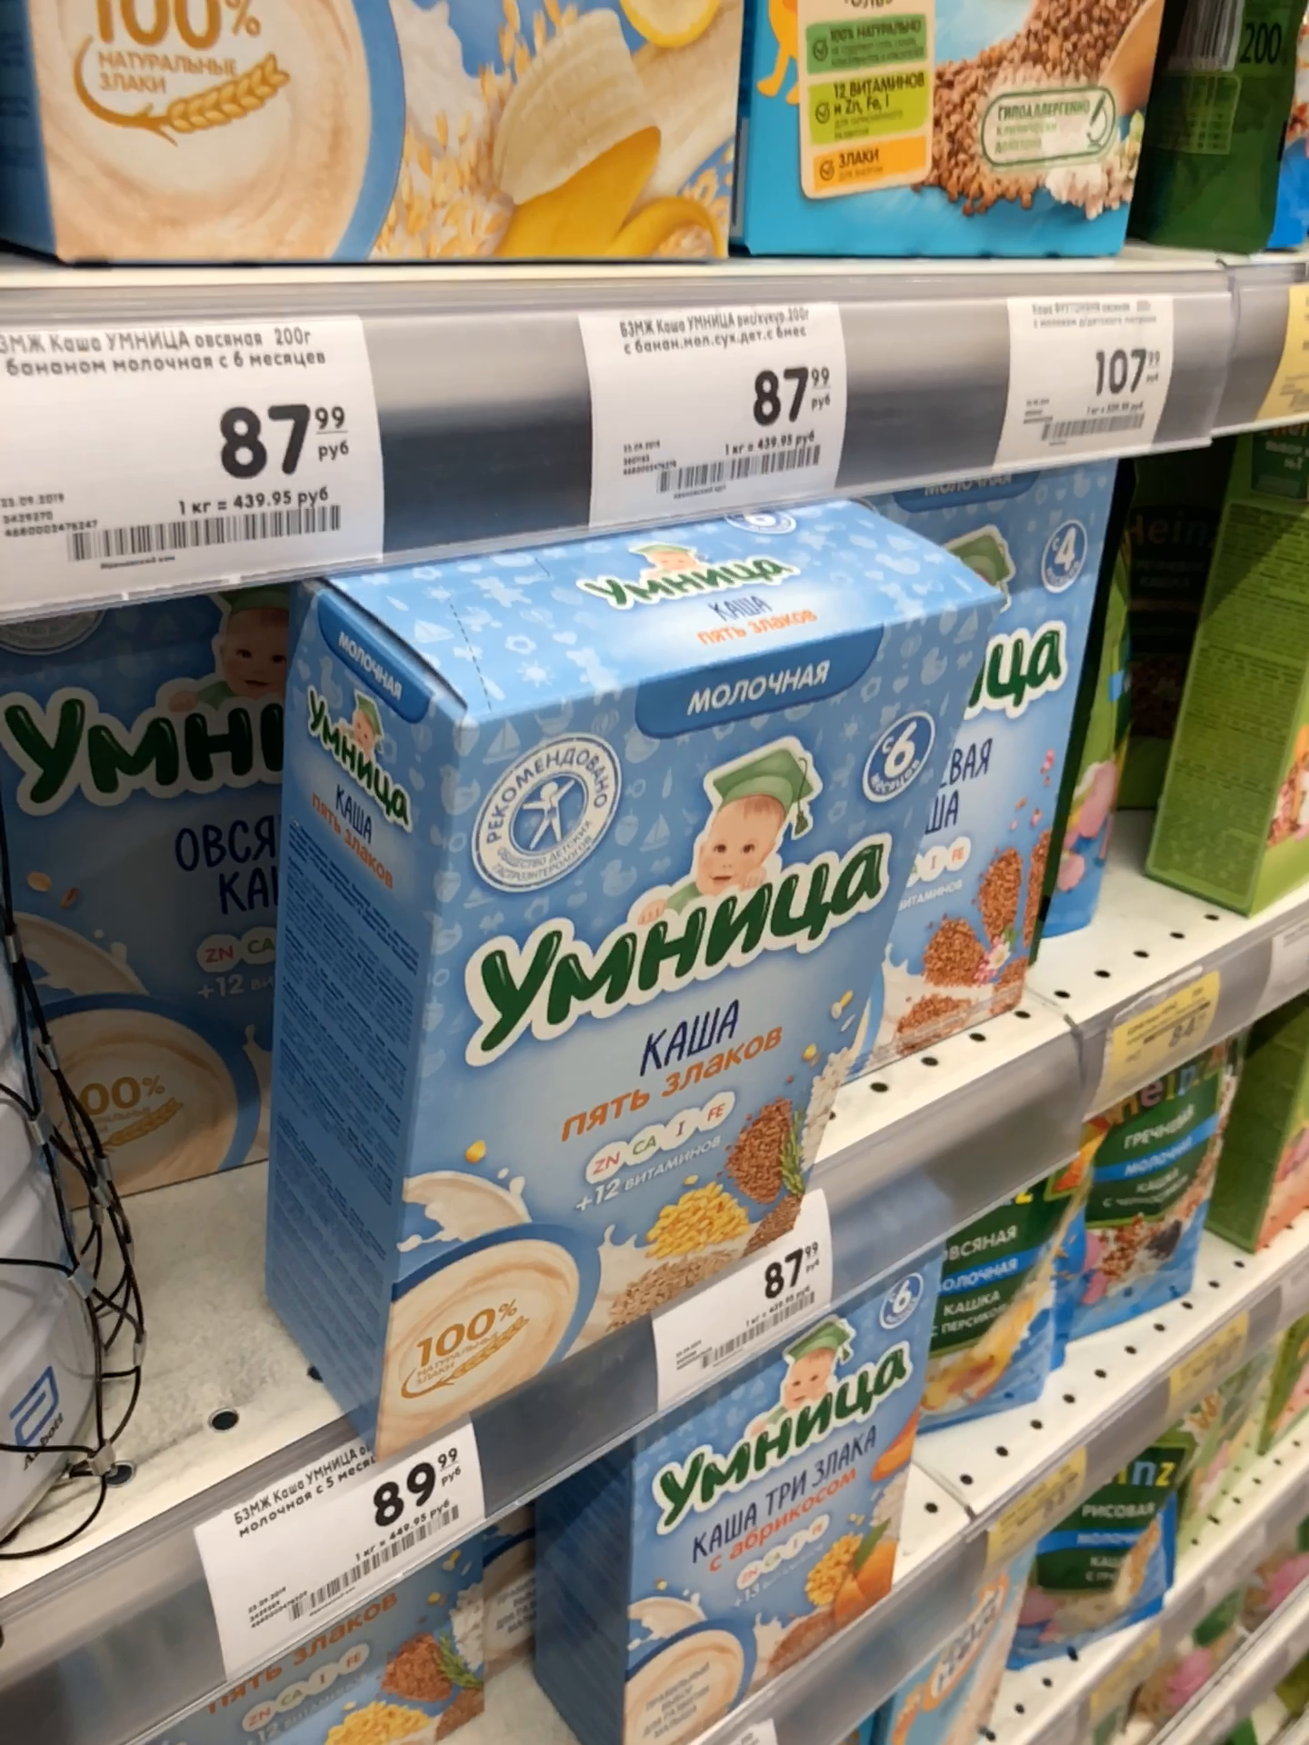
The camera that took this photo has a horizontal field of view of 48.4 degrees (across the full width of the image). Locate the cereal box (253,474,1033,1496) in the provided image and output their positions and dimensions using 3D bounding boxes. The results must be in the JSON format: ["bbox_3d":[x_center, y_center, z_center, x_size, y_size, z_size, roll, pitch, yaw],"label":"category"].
[{"bbox_3d":[-0.012,0.026,0.336,0.140,0.209,0.060,-18,45,-36],"label":"cereal box"}]
